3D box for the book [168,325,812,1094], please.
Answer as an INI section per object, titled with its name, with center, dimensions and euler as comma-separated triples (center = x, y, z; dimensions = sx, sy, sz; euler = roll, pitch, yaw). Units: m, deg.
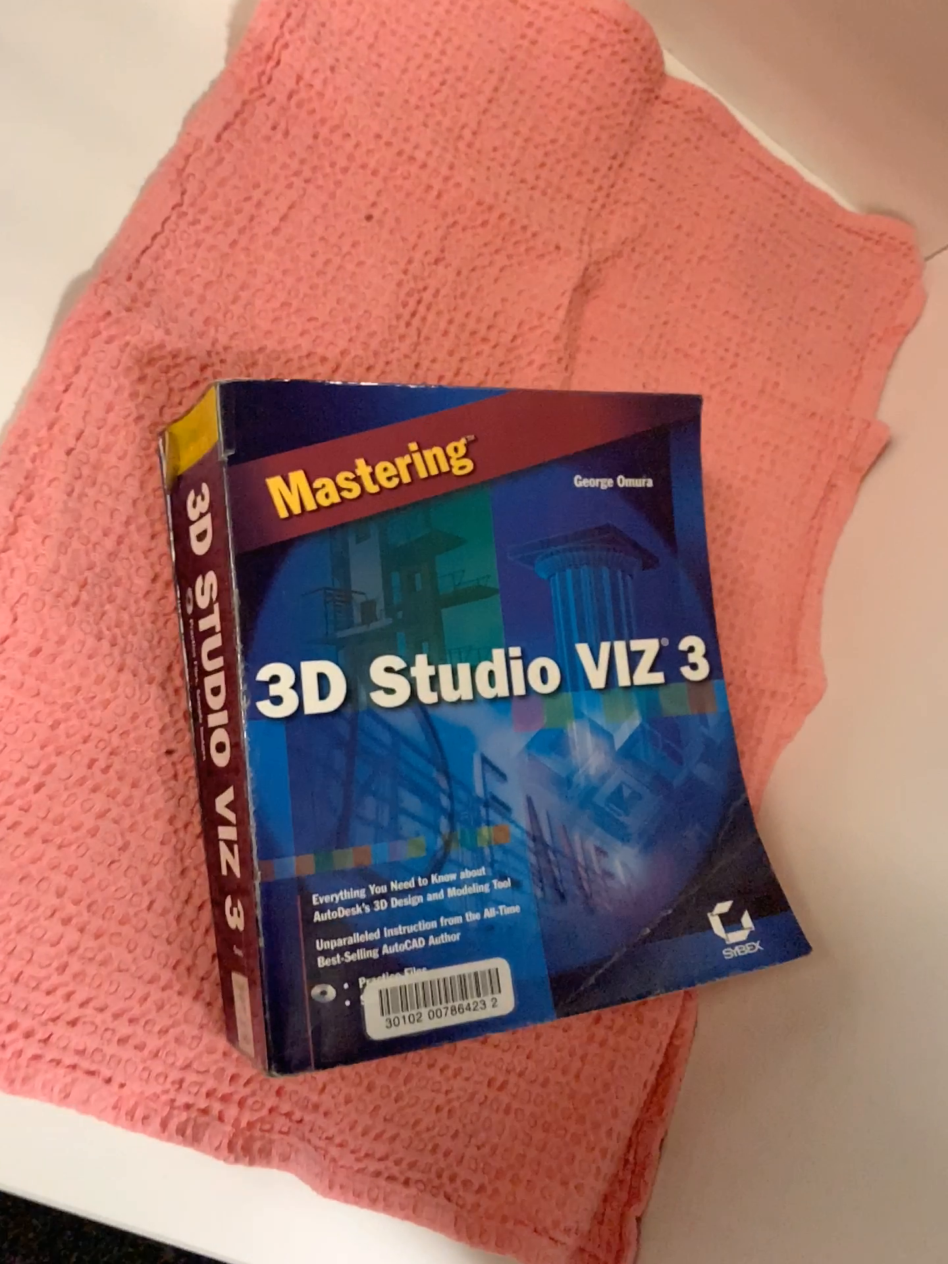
[book]
center = 0.005, 0.017, 0.372
dimensions = 0.206, 0.077, 0.232
euler = -4, 83, -25
